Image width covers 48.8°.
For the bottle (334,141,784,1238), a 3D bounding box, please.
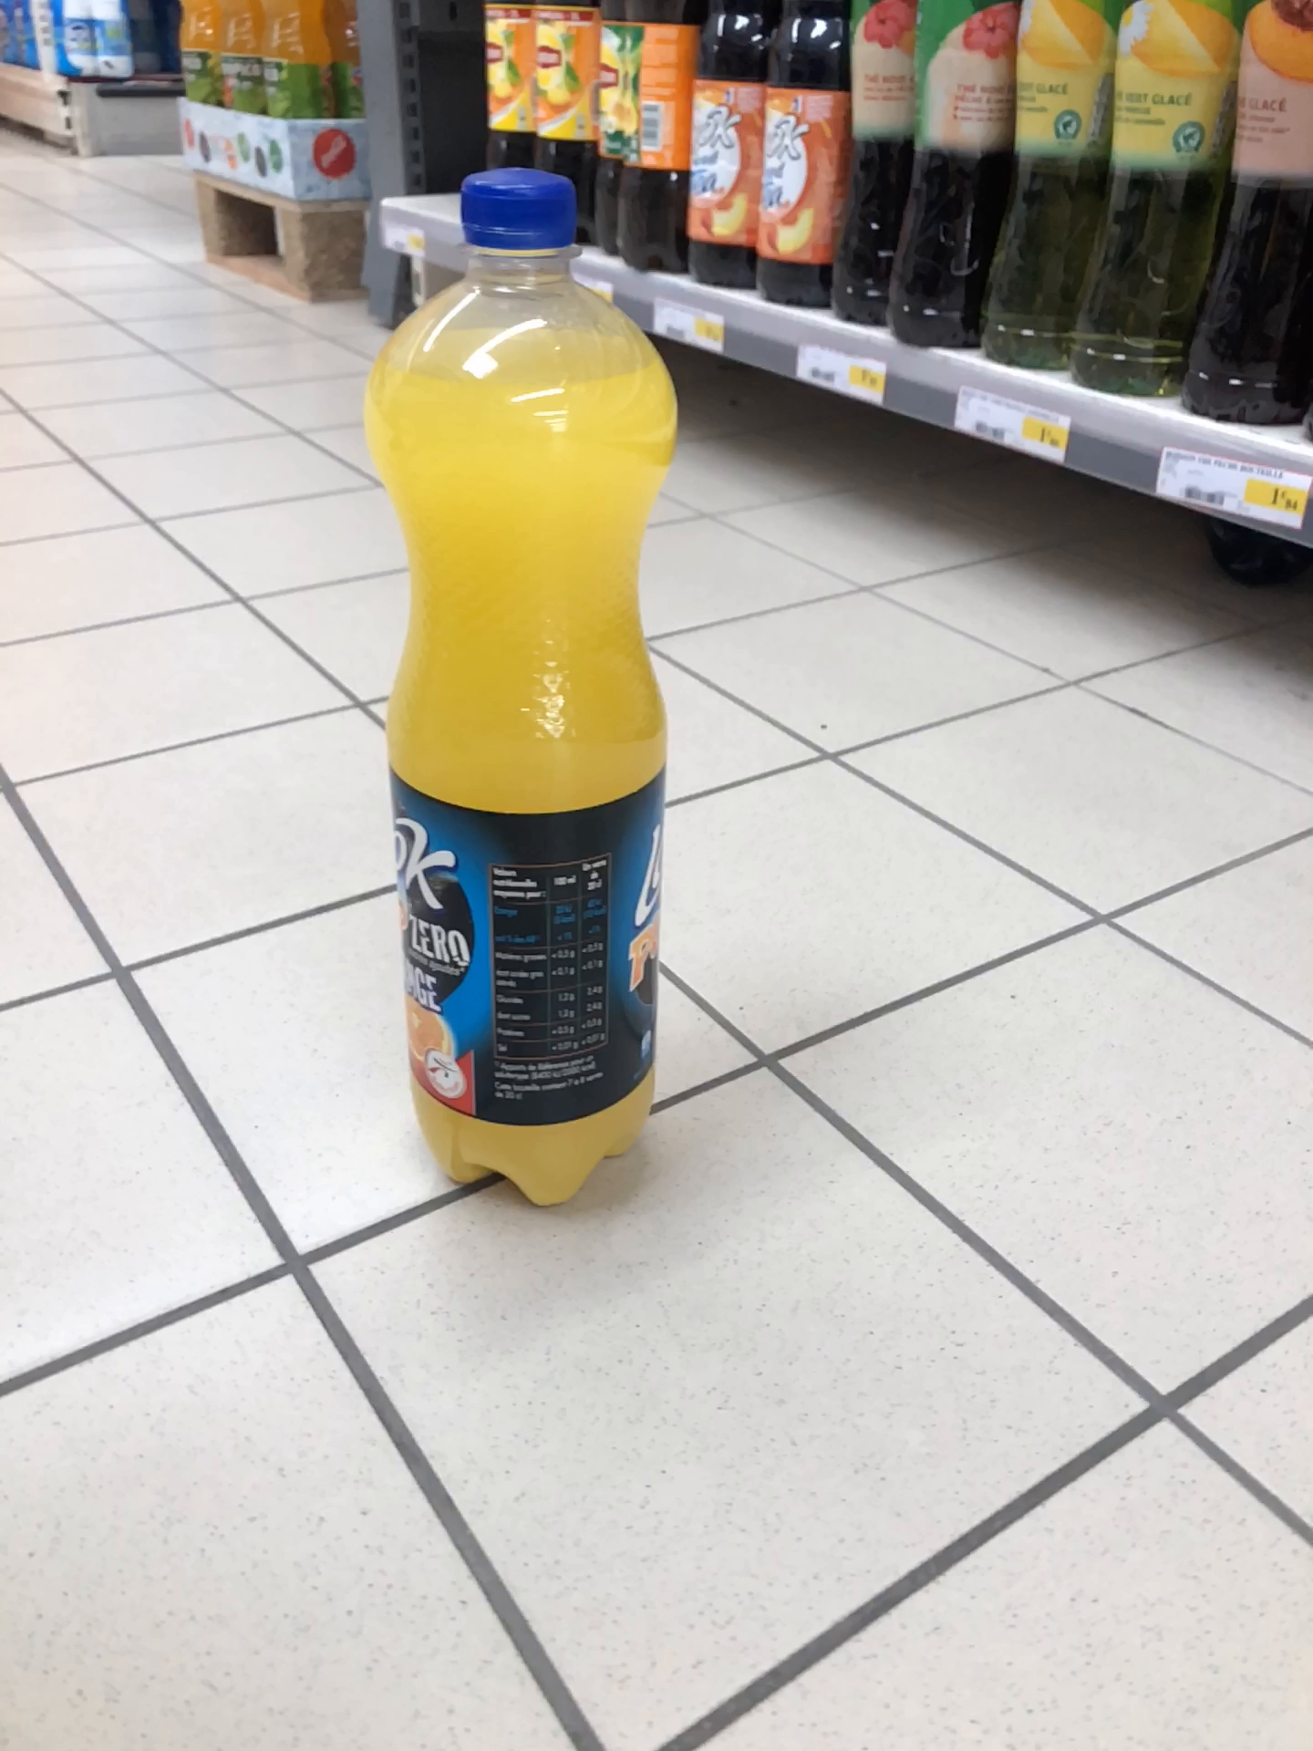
[{"bbox_3d":[-0.034,-0.048,0.453,0.100,0.318,0.100,1,30,-1],"label":"bottle"}]
